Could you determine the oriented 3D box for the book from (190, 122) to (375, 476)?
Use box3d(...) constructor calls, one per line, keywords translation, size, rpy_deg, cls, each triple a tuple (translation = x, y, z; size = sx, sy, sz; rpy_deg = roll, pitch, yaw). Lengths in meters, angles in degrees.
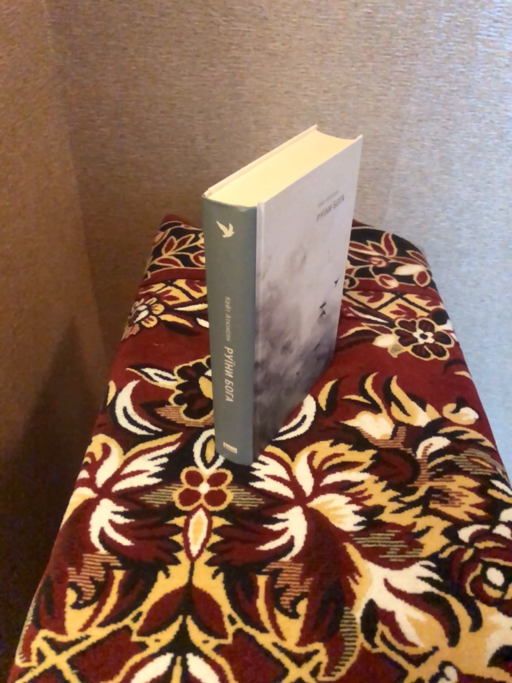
box3d(translation=(0.018, -0.029, 0.396), size=(0.048, 0.200, 0.145), rpy_deg=(21, 41, 22), cls="book")
